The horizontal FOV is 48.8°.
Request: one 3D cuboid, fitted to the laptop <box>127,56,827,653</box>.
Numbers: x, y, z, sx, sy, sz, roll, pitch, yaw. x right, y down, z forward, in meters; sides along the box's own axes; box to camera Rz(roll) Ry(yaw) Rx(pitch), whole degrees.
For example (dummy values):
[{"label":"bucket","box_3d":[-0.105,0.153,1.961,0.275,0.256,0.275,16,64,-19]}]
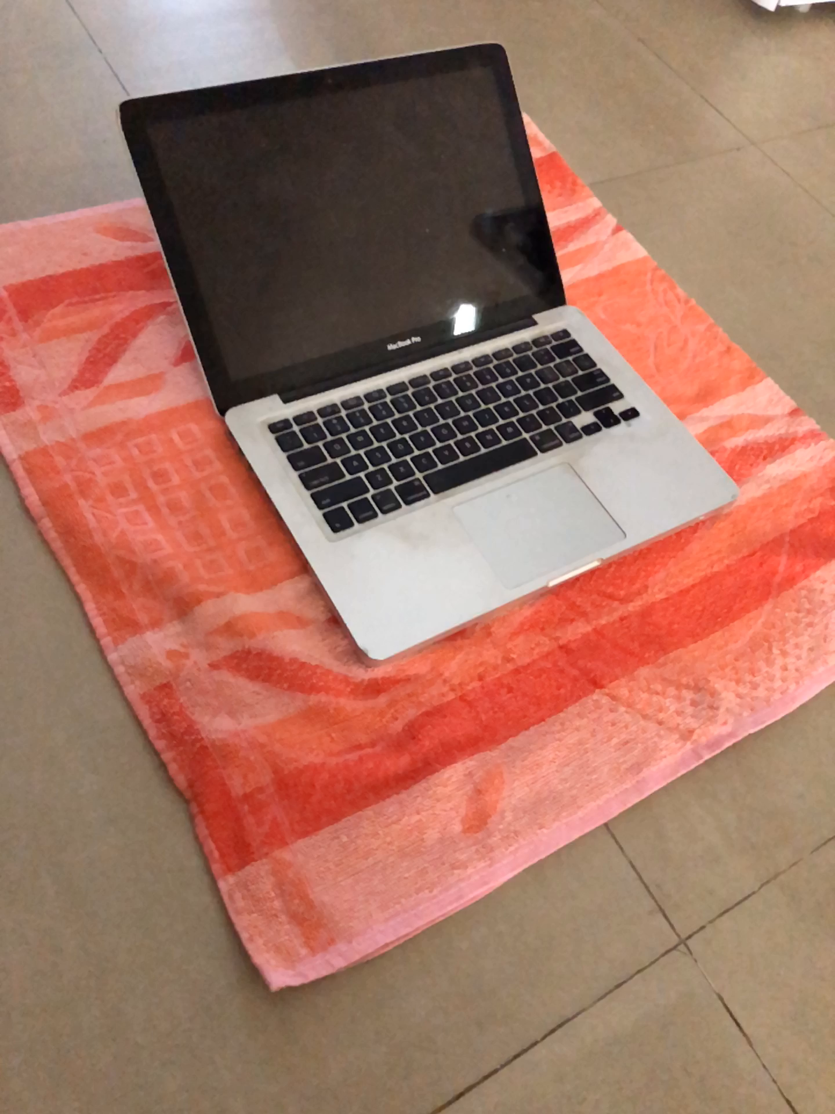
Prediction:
[{"label":"laptop","box_3d":[0.021,-0.171,0.648,0.310,0.133,0.373,-22,62,-23]}]
